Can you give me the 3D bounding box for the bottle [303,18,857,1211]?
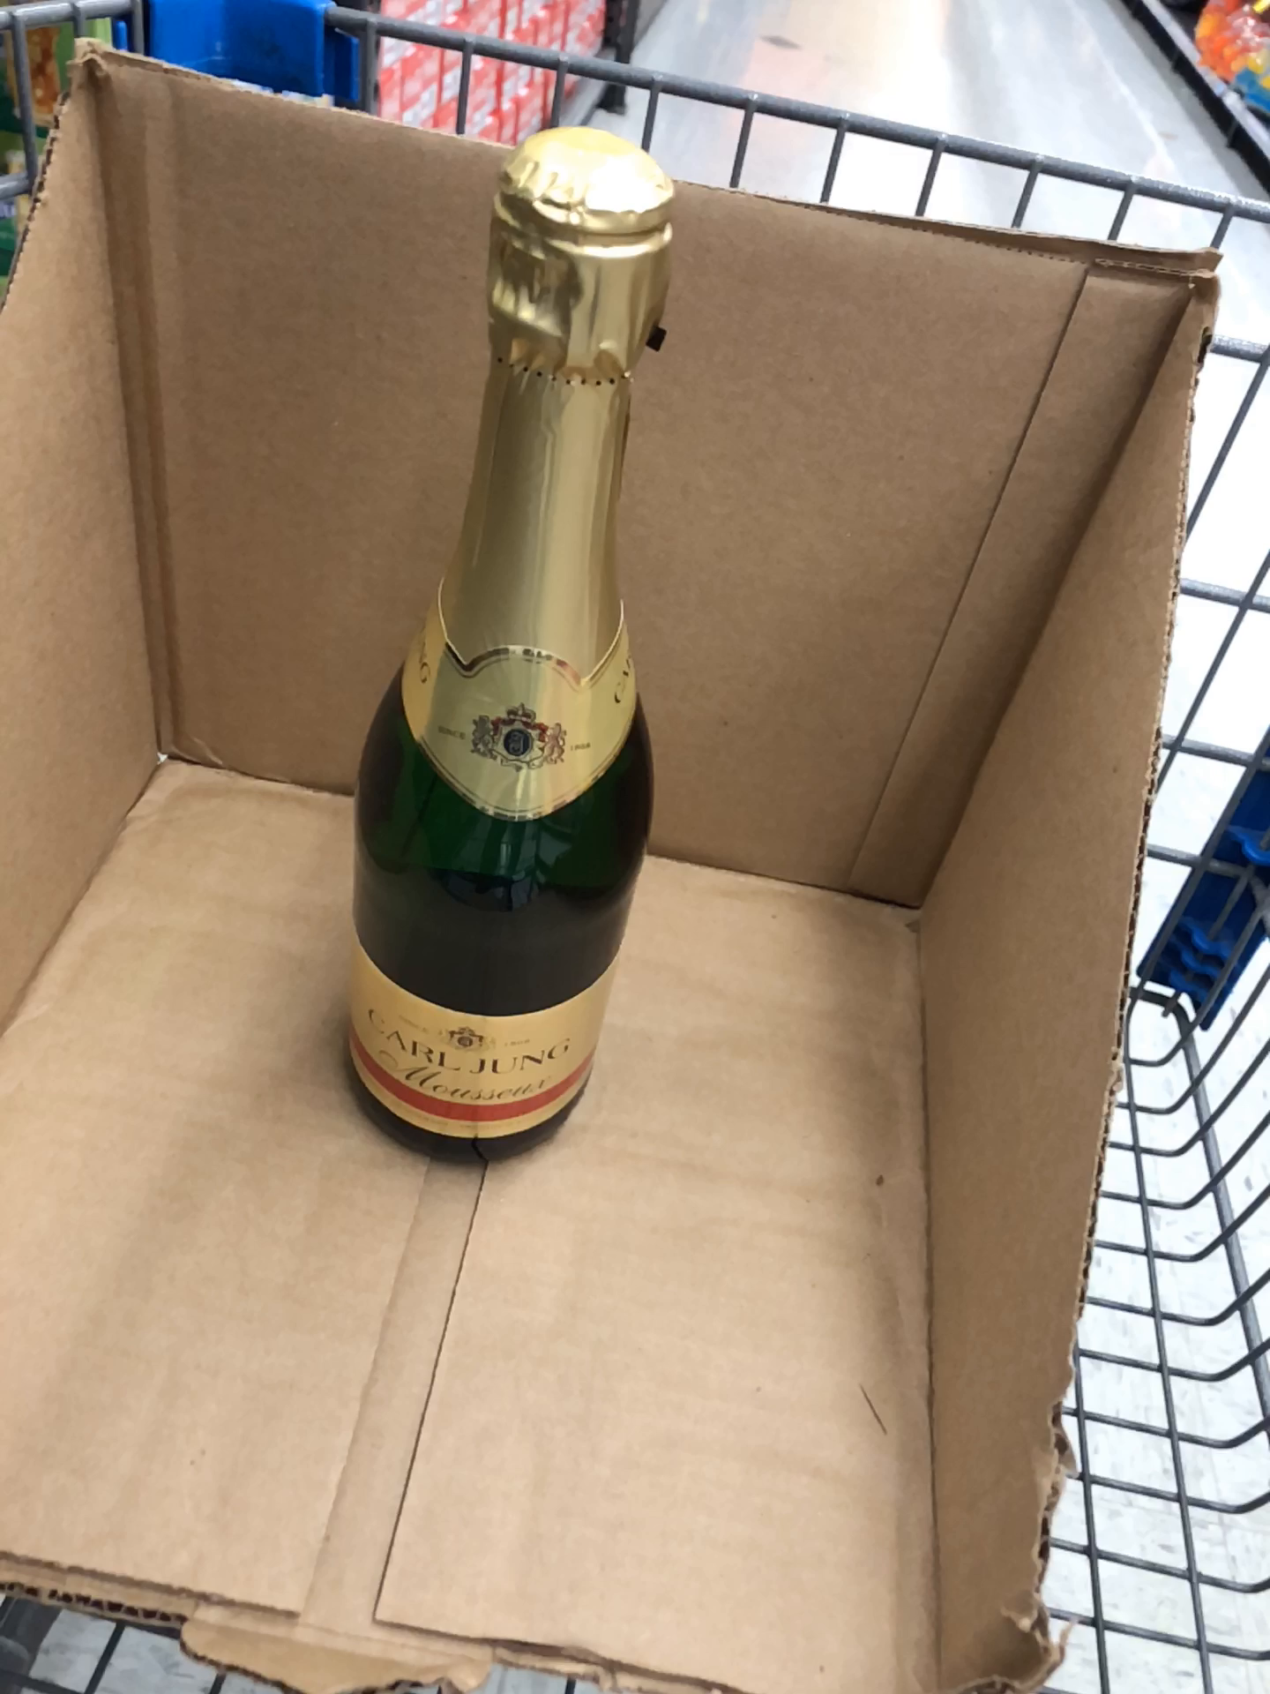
[{"bbox_3d":[-0.027,-0.032,0.357,0.090,0.288,0.081,11,40,-2],"label":"bottle"}]
